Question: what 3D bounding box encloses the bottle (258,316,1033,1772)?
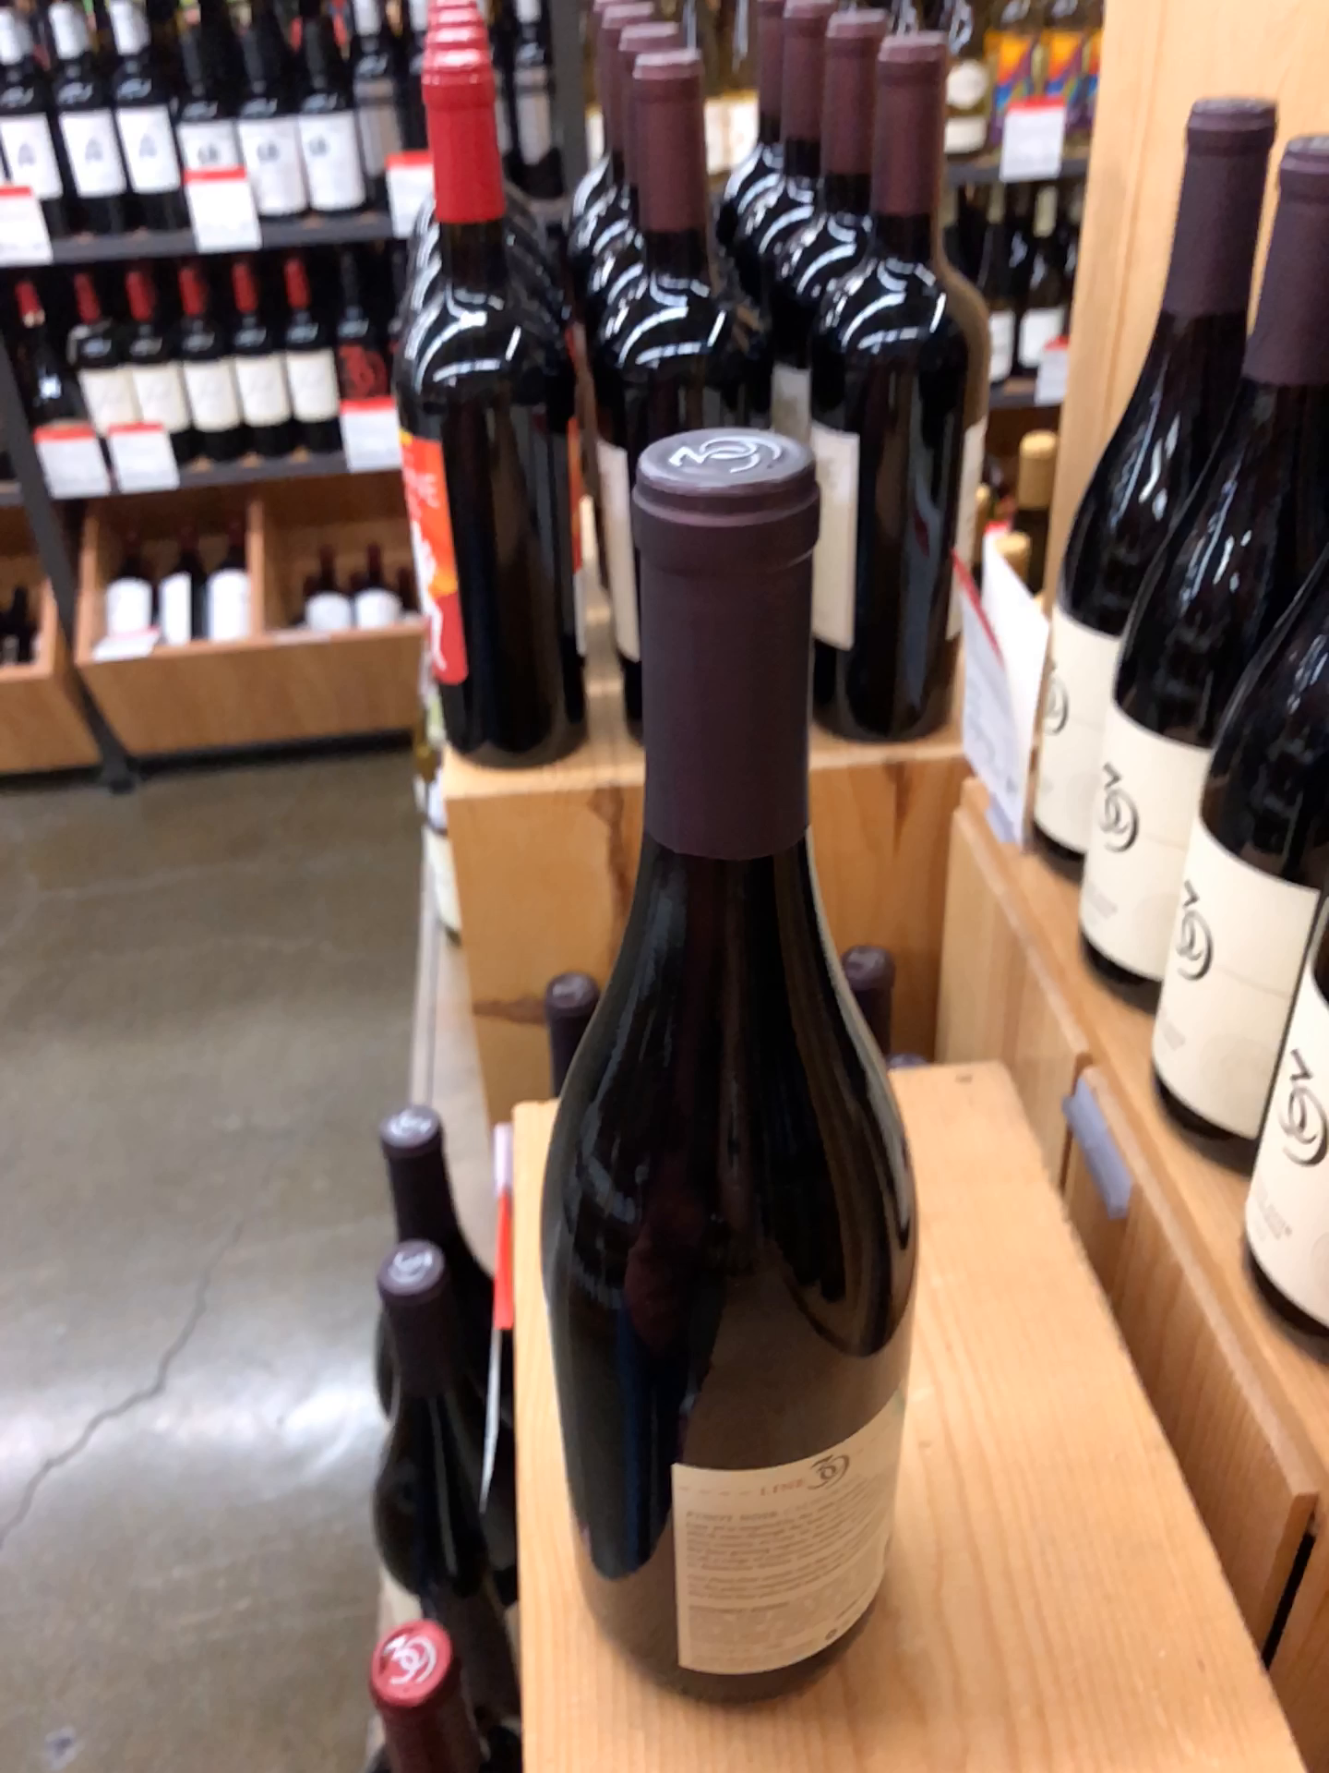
[{"bbox_3d":[0.003,0.048,0.295,0.080,0.283,0.080,-2,34,2],"label":"bottle"}]
